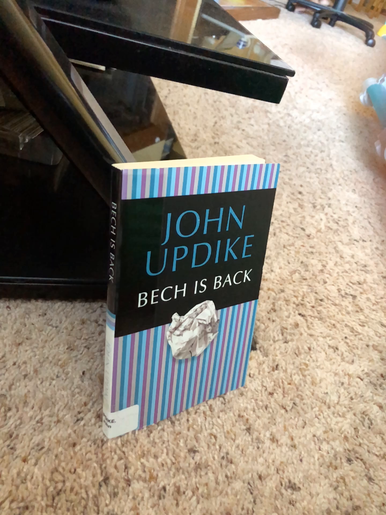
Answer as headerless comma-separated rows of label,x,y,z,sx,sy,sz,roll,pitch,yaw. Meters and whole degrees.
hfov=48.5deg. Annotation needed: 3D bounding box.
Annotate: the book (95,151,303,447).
book,0.001,0.028,0.312,0.135,0.201,0.030,-12,32,-36
